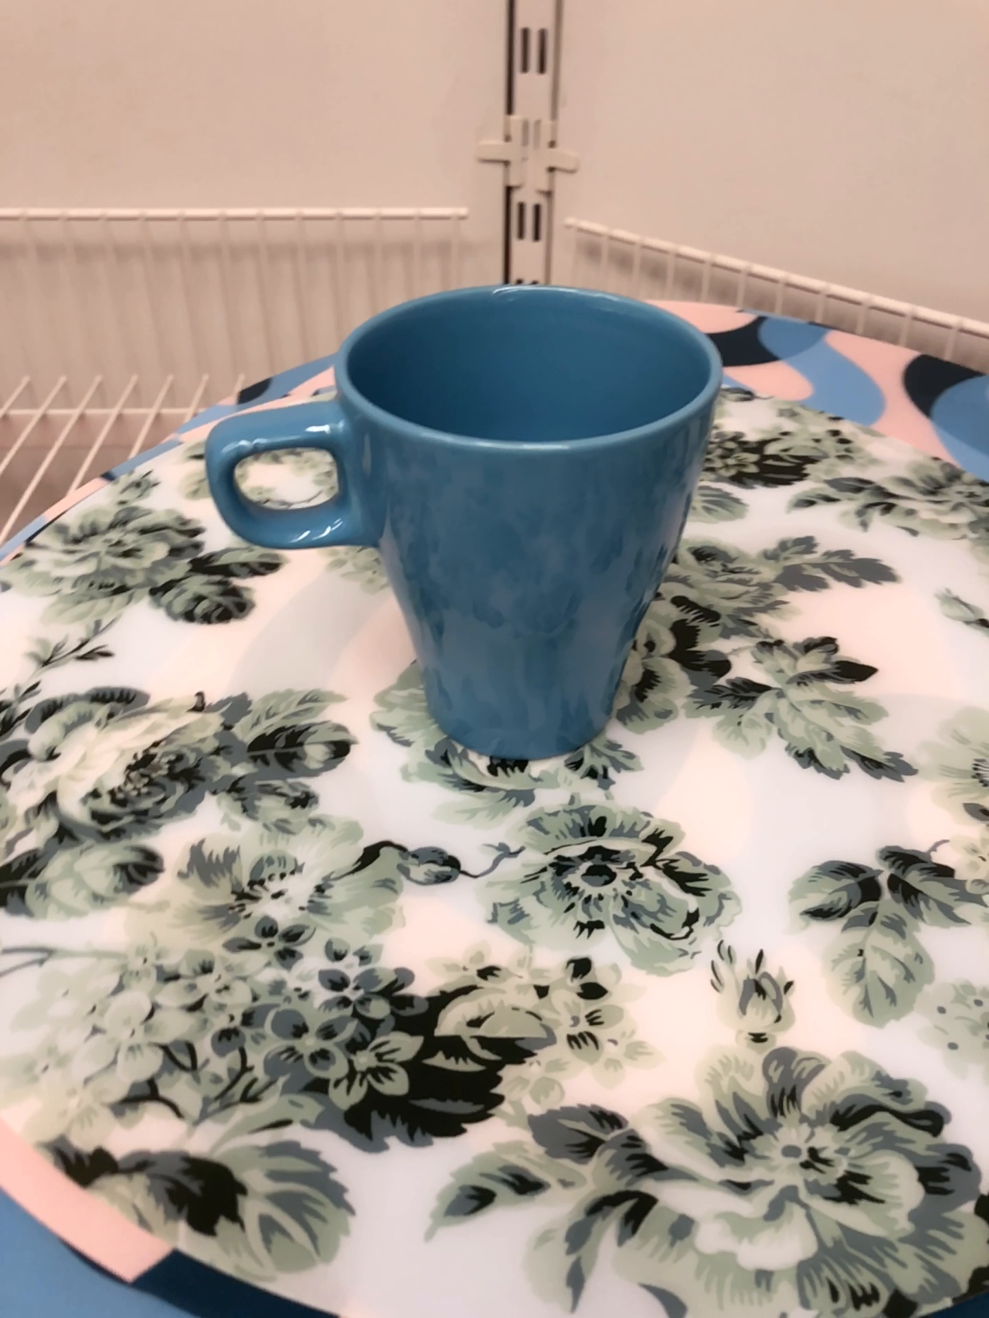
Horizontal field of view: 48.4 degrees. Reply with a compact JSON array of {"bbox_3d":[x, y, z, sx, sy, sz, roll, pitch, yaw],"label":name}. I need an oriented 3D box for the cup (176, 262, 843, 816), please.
[{"bbox_3d":[-0.003,-0.035,0.257,0.120,0.080,0.090,-10,37,-14],"label":"cup"}]
